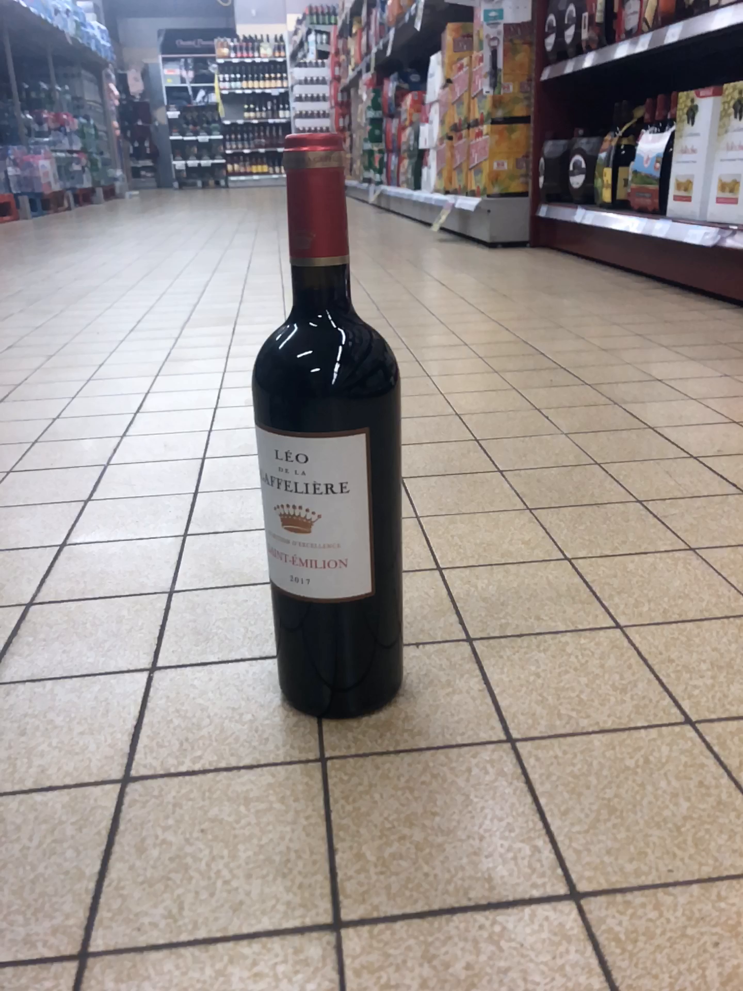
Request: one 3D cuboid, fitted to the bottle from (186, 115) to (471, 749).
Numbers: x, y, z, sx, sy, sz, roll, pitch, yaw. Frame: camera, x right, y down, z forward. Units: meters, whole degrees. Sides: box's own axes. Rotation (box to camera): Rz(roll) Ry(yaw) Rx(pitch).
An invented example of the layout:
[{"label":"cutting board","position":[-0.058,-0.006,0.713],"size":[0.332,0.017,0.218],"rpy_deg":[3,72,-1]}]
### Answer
[{"label":"bottle","position":[-0.014,-0.031,0.414],"size":[0.090,0.287,0.090],"rpy_deg":[-1,21,1]}]
